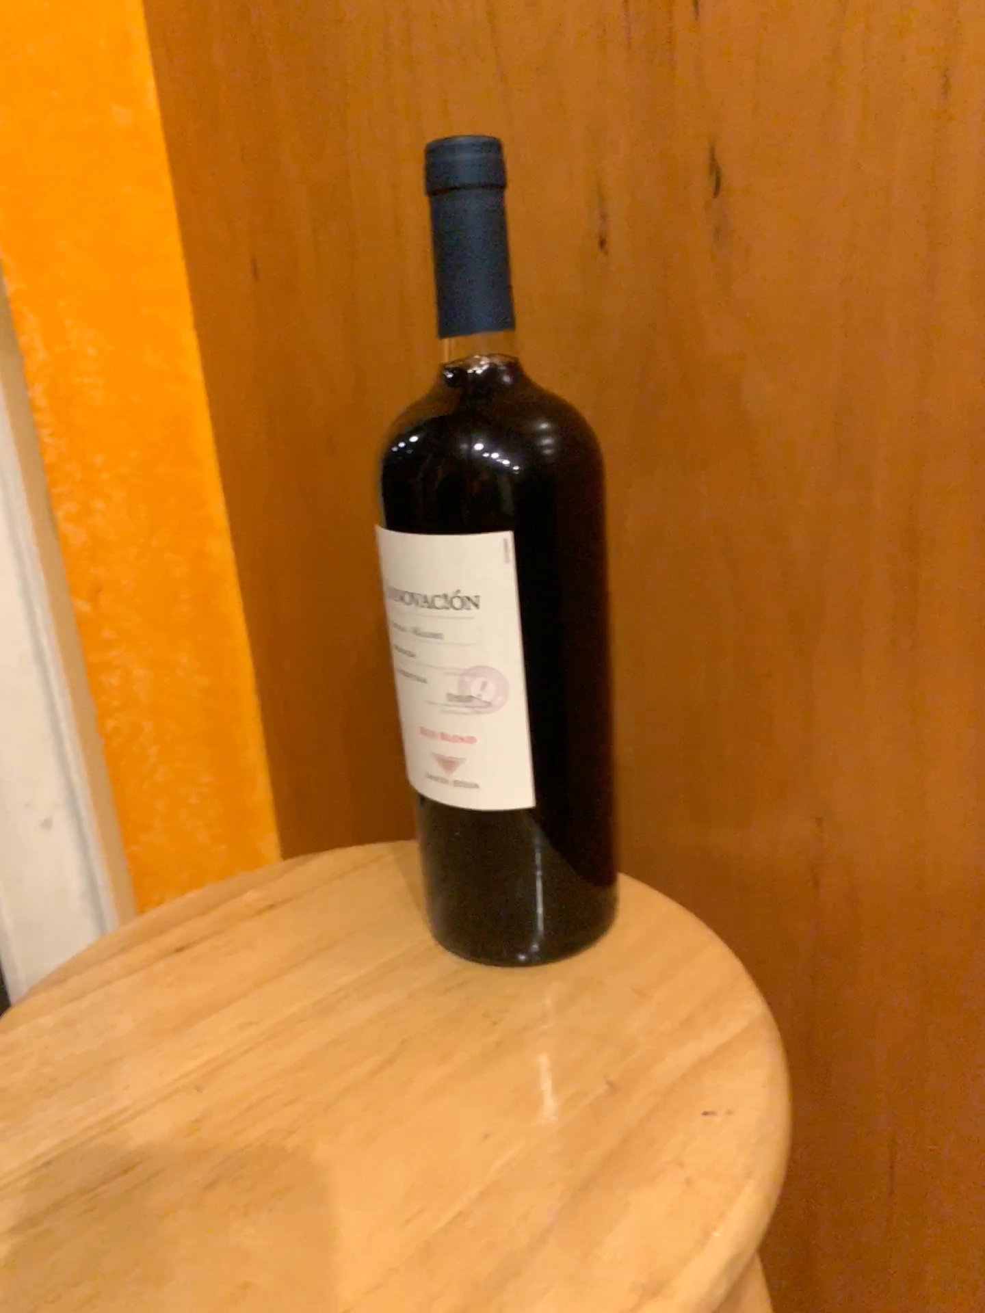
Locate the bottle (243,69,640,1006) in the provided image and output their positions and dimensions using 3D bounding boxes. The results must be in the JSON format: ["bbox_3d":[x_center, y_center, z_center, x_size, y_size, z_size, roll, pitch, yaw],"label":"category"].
[{"bbox_3d":[-0.011,-0.035,0.381,0.090,0.299,0.080,12,23,43],"label":"bottle"}]
